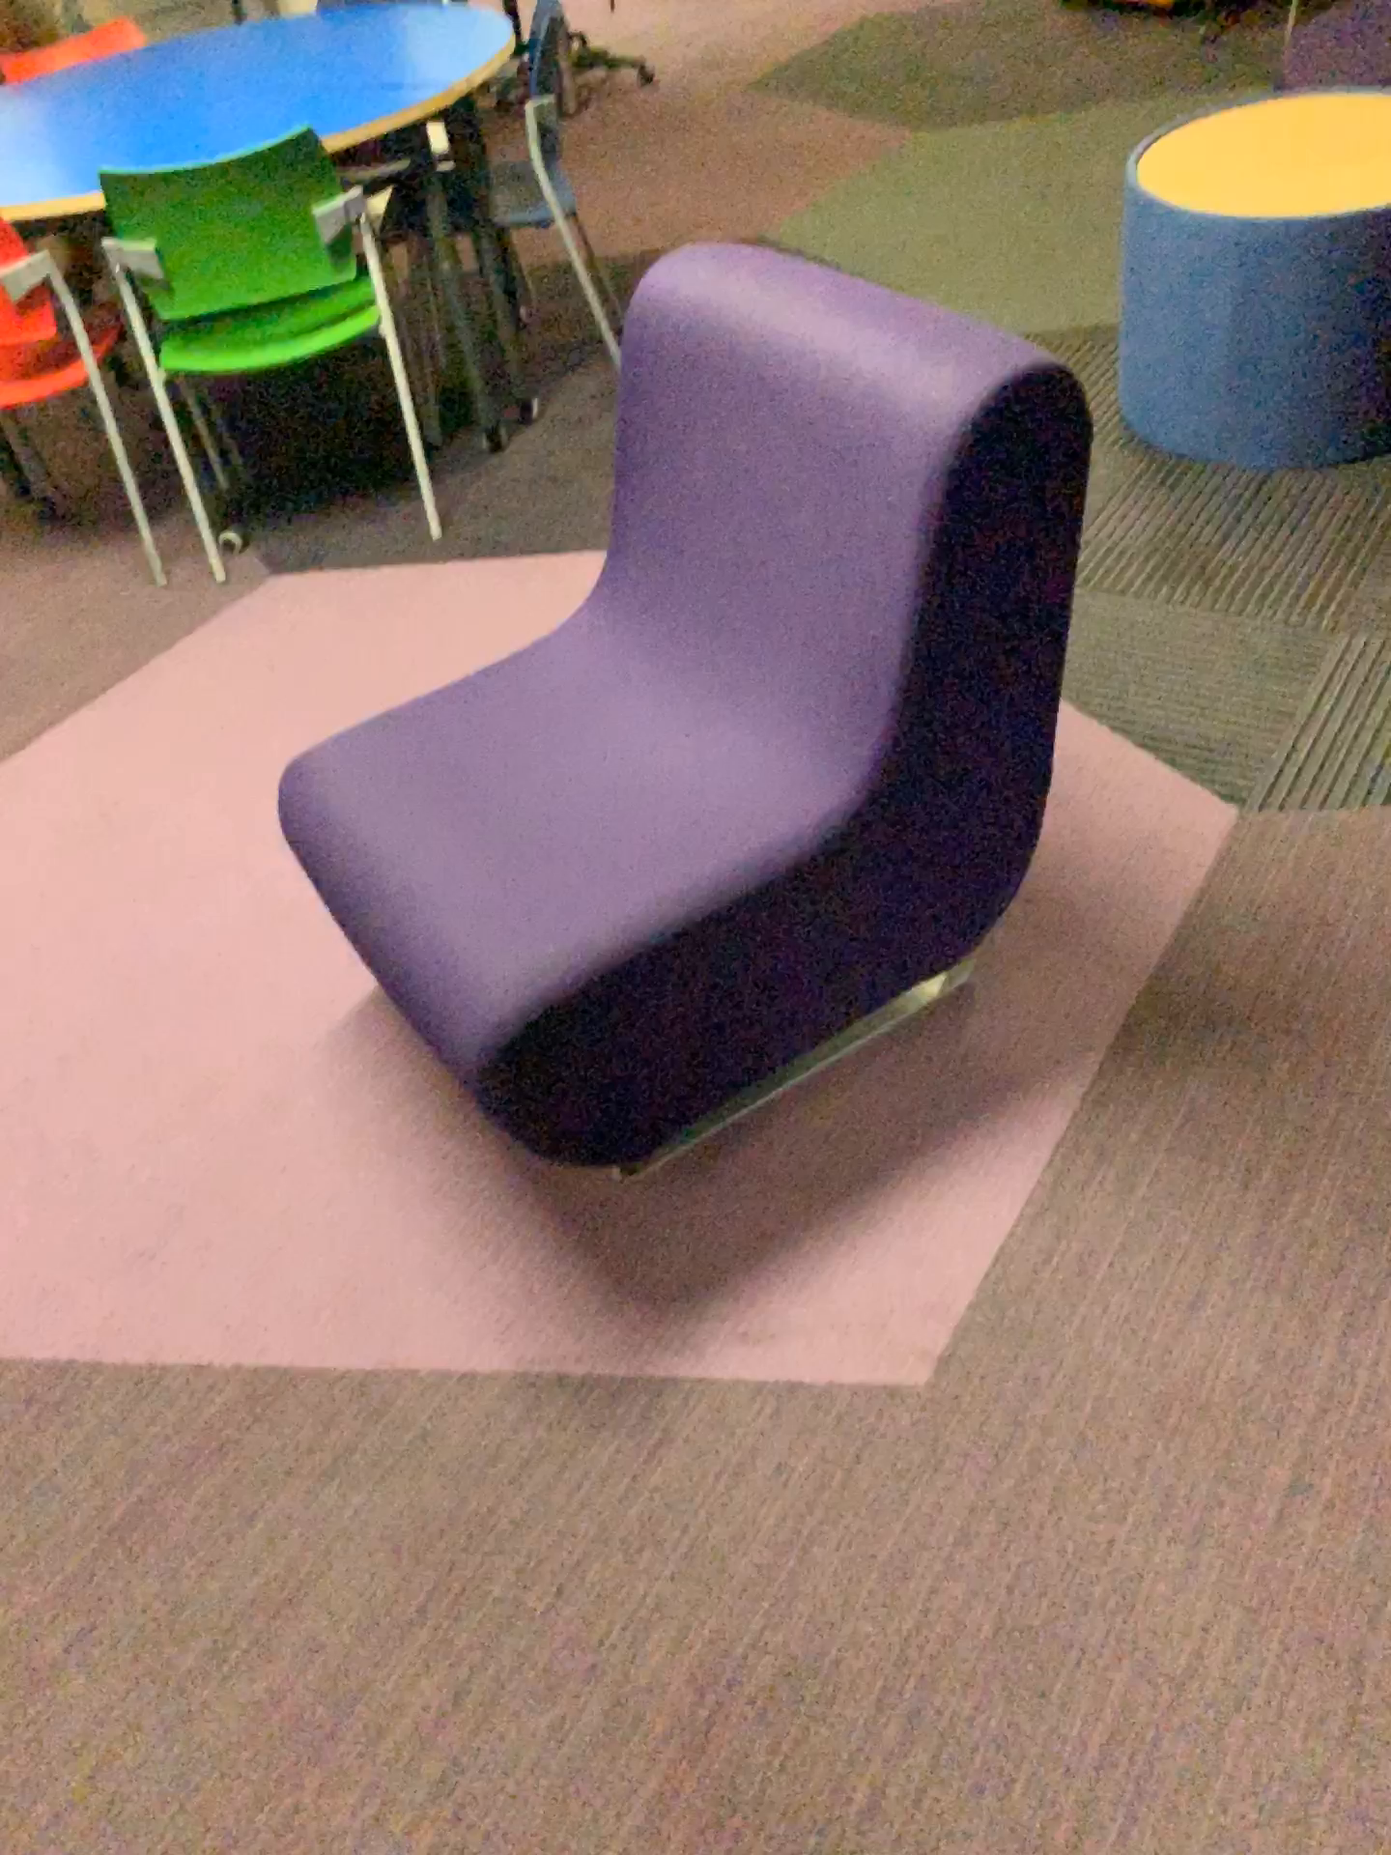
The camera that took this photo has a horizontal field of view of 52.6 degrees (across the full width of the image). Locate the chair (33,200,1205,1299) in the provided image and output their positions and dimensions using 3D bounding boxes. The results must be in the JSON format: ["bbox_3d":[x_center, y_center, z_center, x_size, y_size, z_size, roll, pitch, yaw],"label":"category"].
[{"bbox_3d":[-0.083,-0.271,1.522,0.822,0.614,0.806,-29,45,-19],"label":"chair"}]
